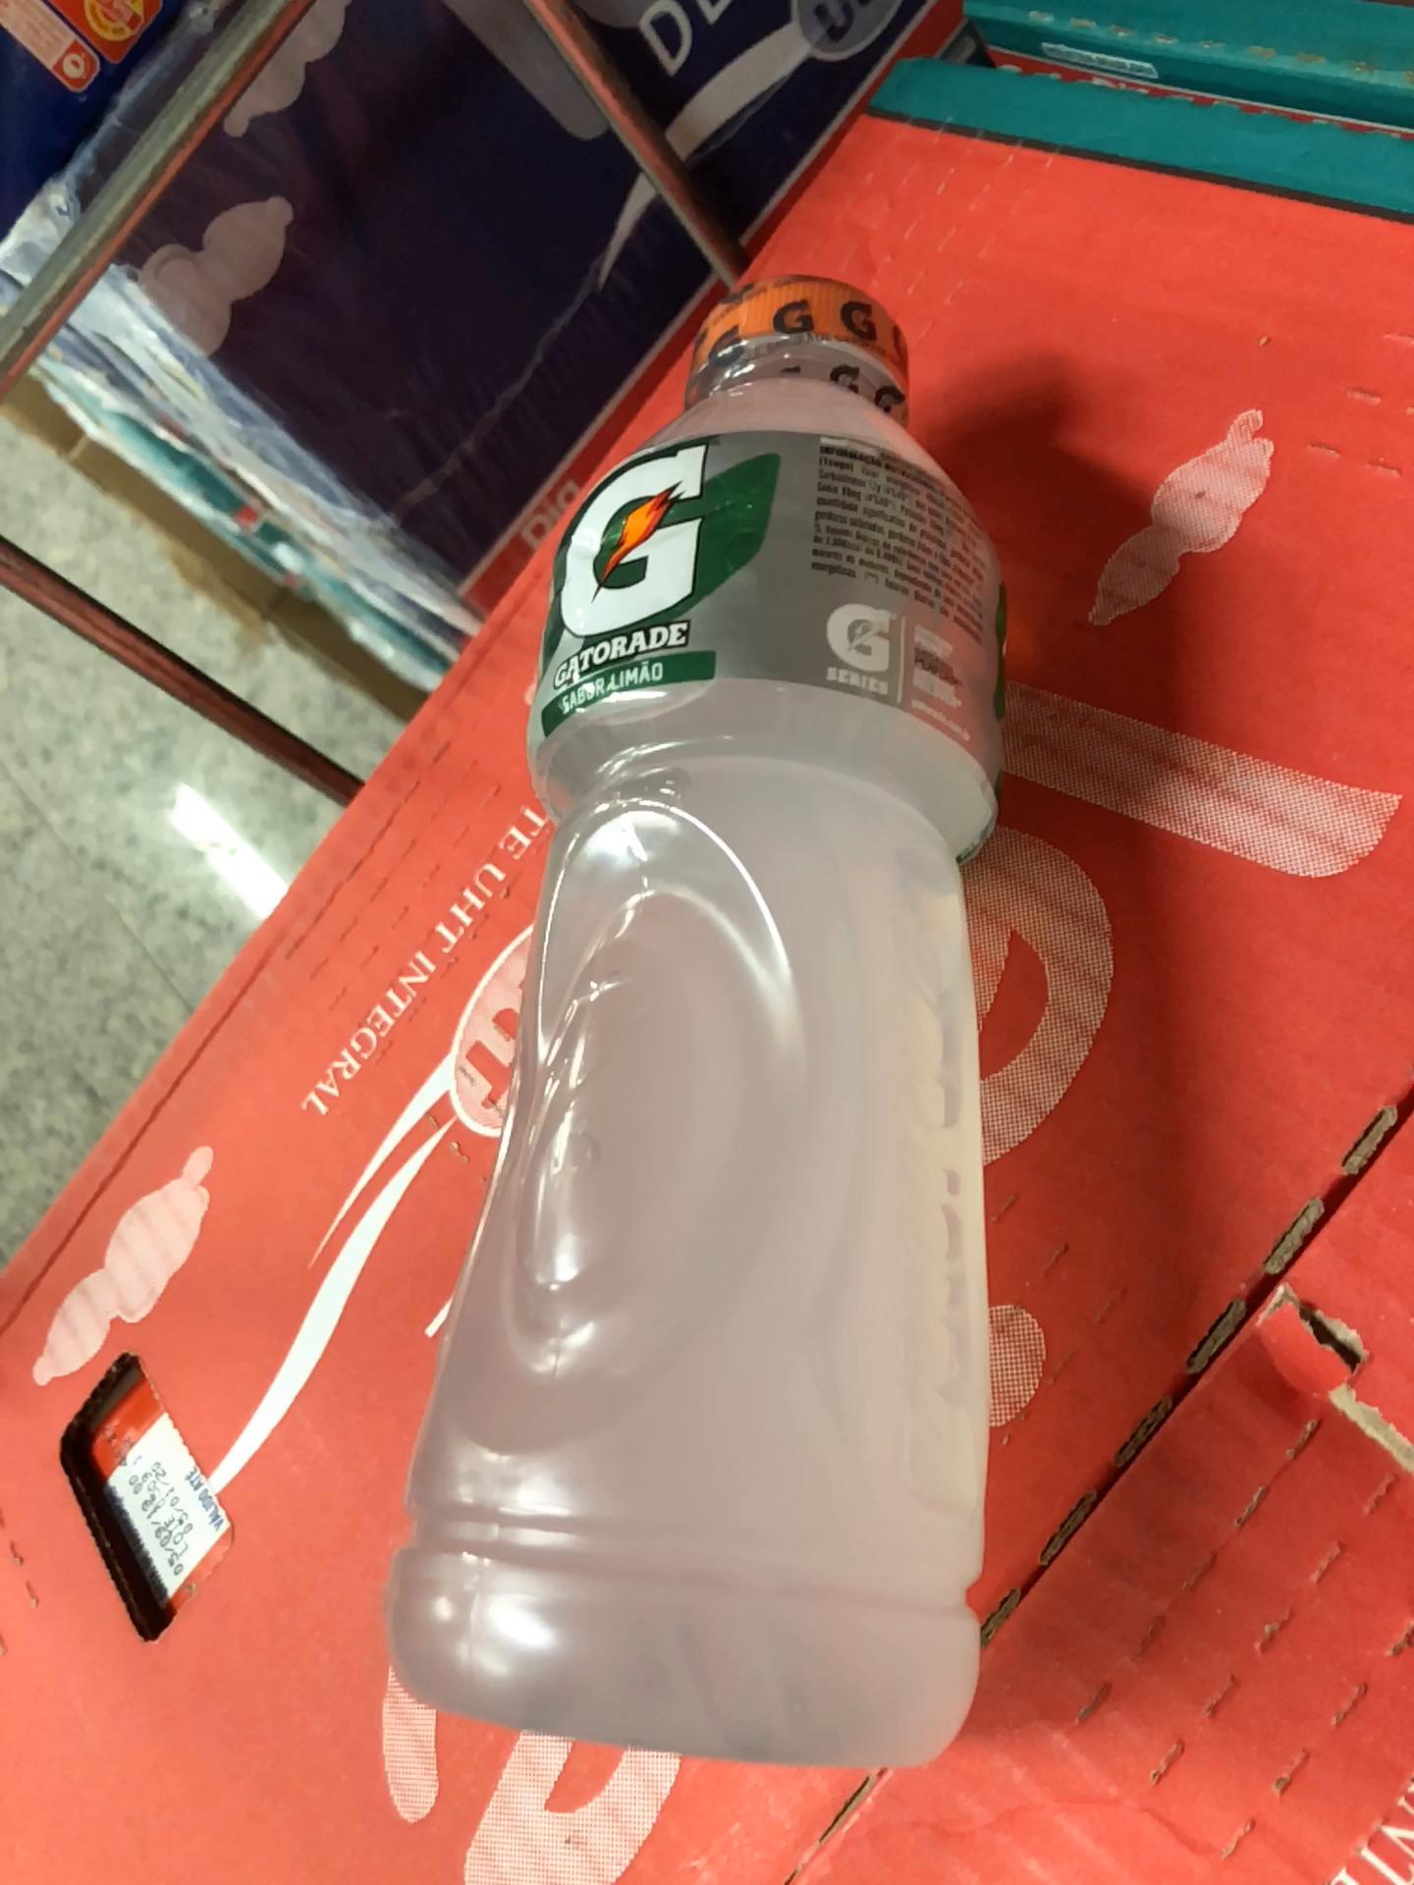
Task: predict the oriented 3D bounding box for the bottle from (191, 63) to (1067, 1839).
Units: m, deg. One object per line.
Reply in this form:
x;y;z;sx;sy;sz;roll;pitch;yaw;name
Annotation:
0.002;-0.007;0.211;0.070;0.060;0.210;-9;62;32;bottle

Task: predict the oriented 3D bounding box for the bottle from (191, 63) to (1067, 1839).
0.002;-0.007;0.211;0.070;0.060;0.210;-9;62;32;bottle
